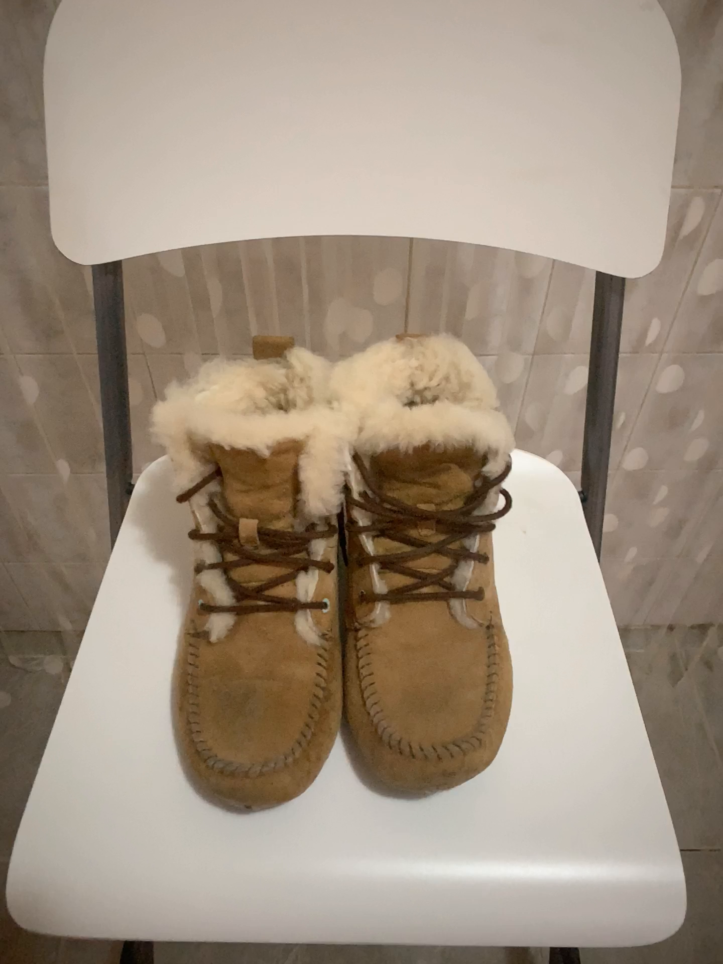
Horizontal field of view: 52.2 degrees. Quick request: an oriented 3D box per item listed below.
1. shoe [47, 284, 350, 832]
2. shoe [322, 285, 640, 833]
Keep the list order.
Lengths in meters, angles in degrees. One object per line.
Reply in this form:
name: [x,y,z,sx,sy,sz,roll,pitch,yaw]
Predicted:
shoe: [-0.062,0.031,0.402,0.106,0.155,0.253,-1,48,-2]
shoe: [0.037,0.032,0.404,0.113,0.157,0.253,-1,48,-2]
